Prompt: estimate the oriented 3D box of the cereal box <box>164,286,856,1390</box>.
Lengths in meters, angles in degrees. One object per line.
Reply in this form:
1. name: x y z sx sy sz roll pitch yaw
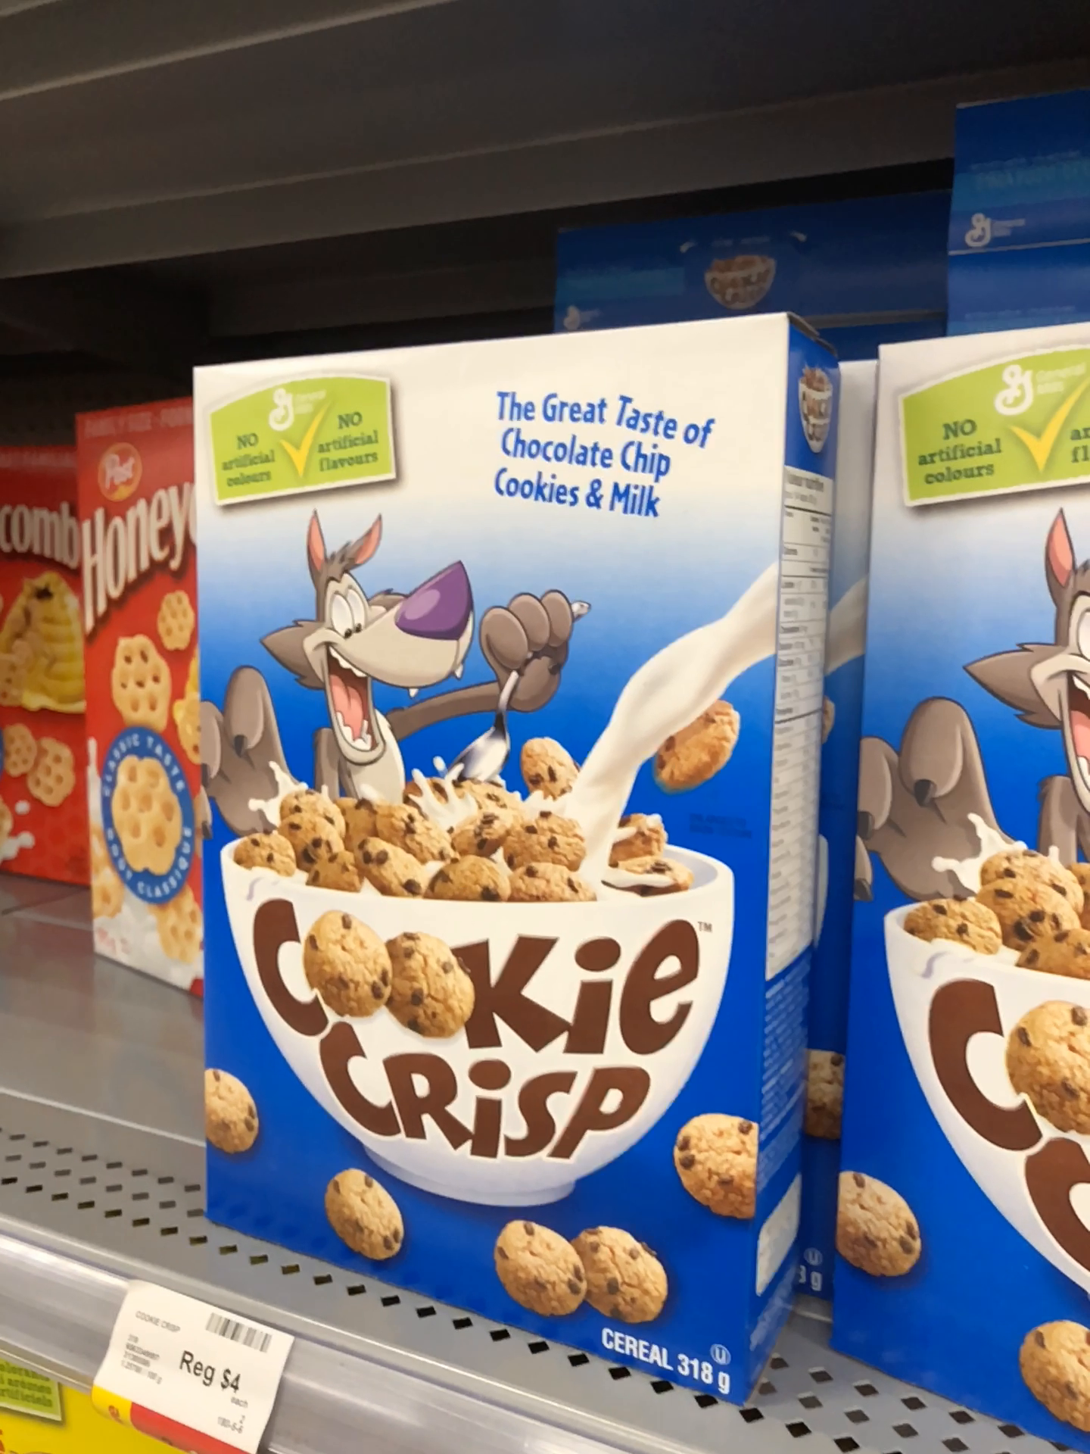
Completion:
1. cereal box: -0.017 0.026 0.366 0.200 0.279 0.050 4 7 26
